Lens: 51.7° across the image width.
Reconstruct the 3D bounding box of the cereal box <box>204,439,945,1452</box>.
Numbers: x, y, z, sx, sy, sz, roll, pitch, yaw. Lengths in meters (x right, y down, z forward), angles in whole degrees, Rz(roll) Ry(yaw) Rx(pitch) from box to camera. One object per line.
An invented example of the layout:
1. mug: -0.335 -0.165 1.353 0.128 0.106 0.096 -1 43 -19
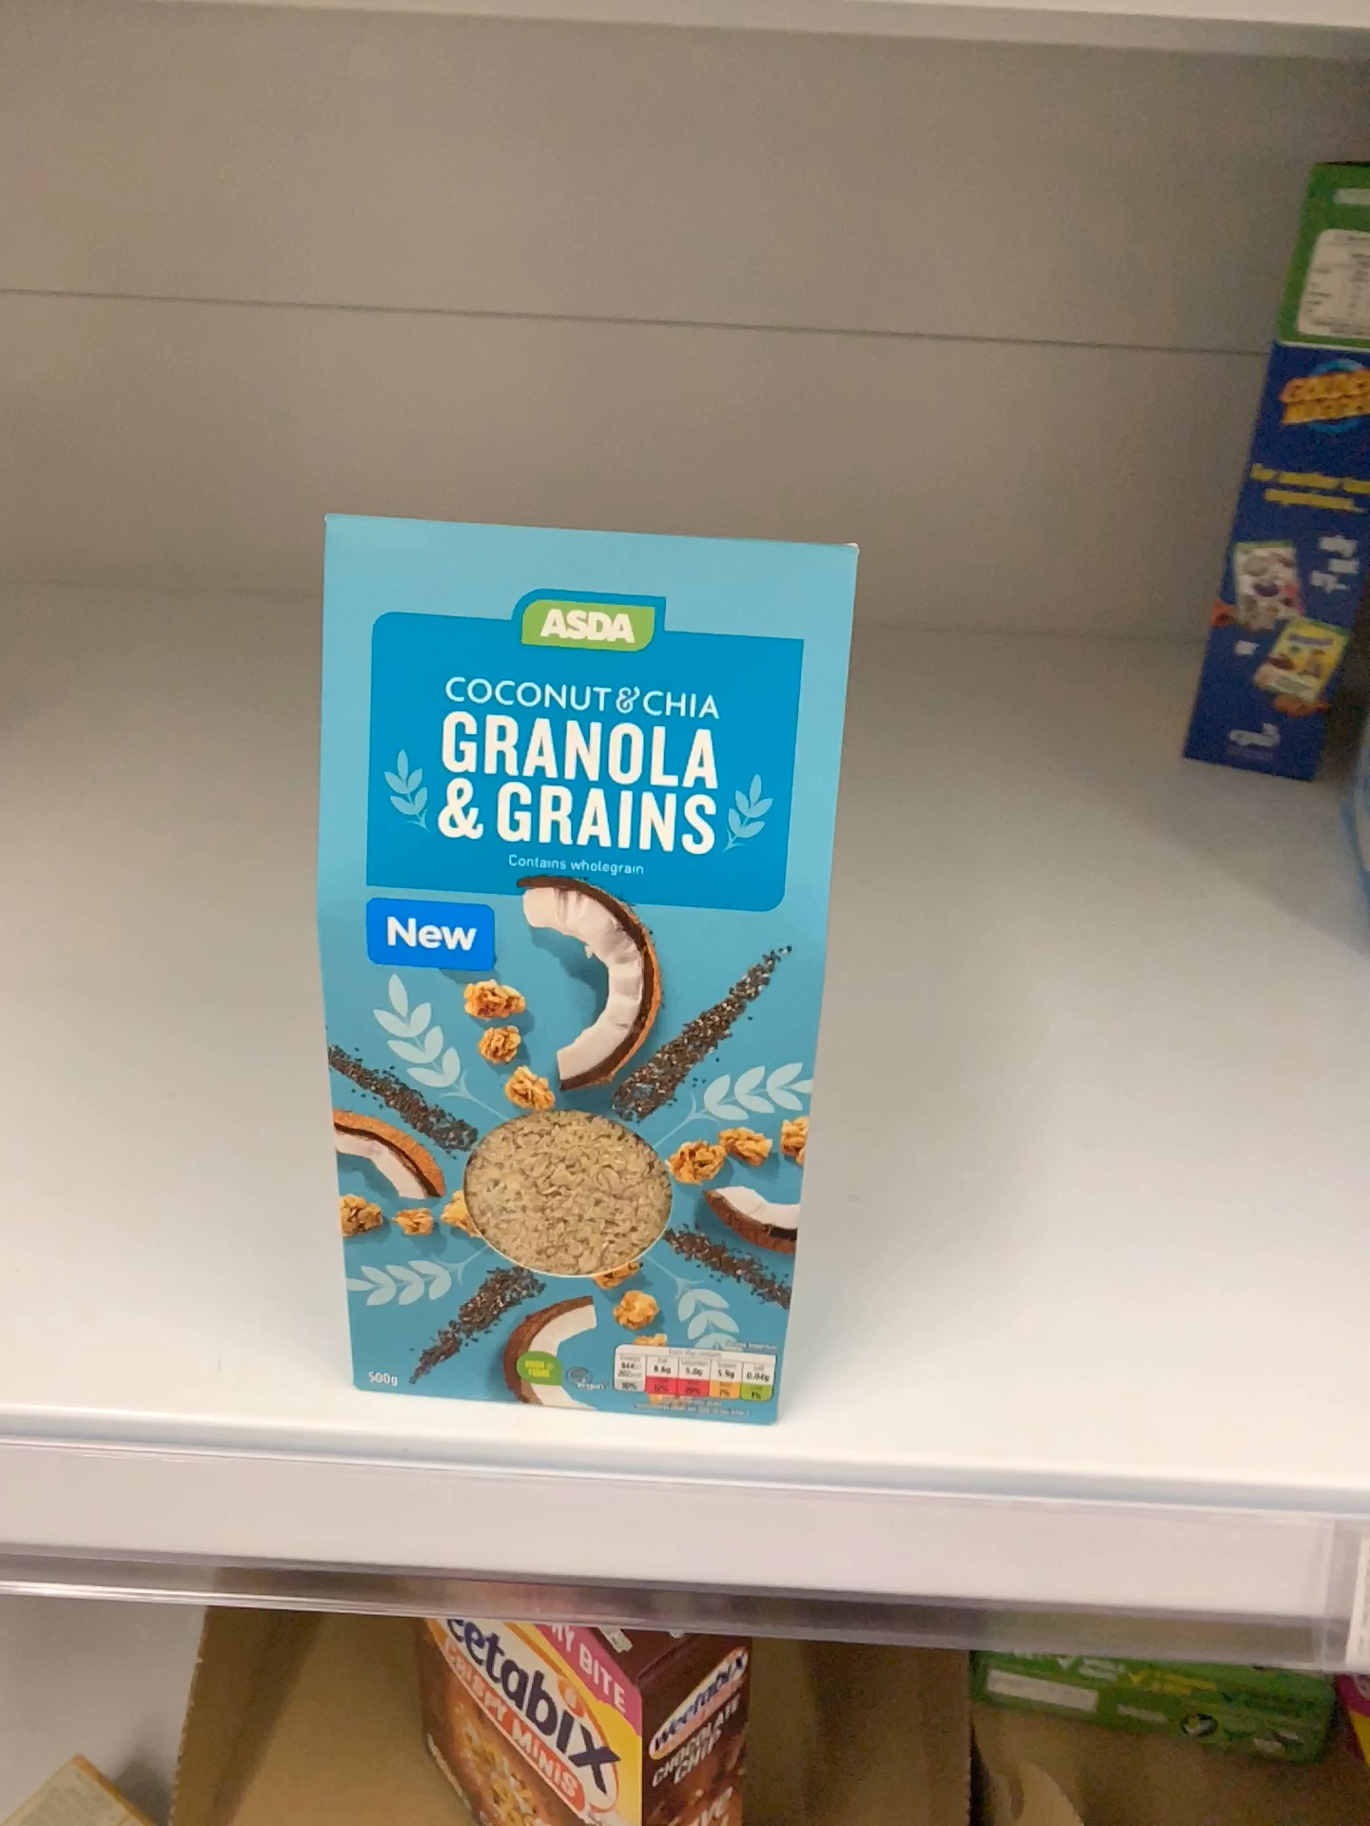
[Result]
1. cereal box: -0.024 0.016 0.353 0.140 0.238 0.071 5 29 3
